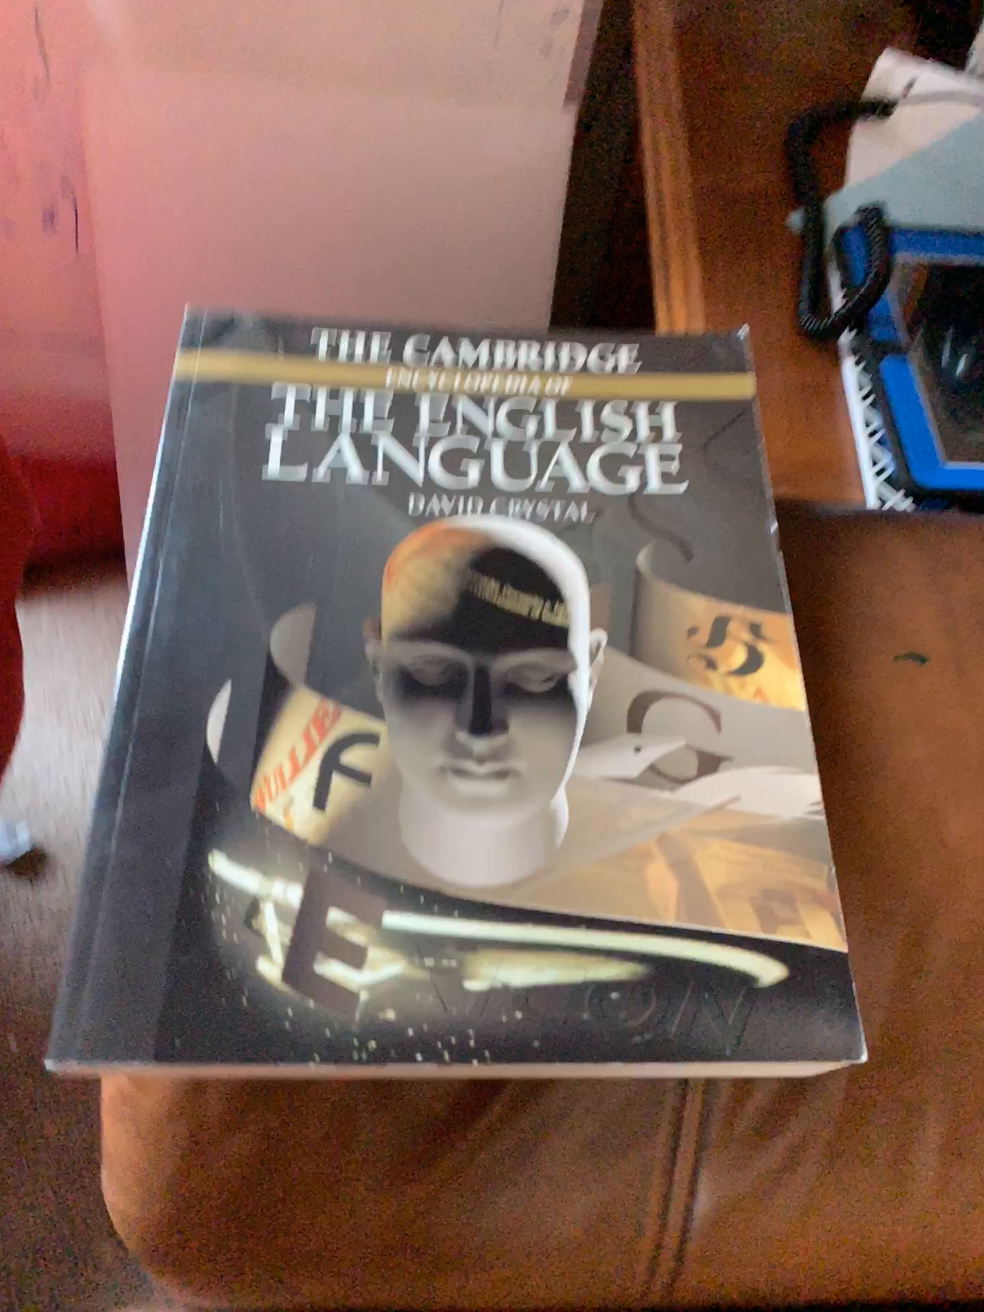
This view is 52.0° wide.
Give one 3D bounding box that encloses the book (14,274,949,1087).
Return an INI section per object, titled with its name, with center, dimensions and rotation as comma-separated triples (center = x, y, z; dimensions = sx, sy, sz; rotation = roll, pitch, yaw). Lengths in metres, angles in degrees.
[book]
center = -0.001, -0.006, 0.348
dimensions = 0.240, 0.050, 0.280
rotation = 2, 60, -6
